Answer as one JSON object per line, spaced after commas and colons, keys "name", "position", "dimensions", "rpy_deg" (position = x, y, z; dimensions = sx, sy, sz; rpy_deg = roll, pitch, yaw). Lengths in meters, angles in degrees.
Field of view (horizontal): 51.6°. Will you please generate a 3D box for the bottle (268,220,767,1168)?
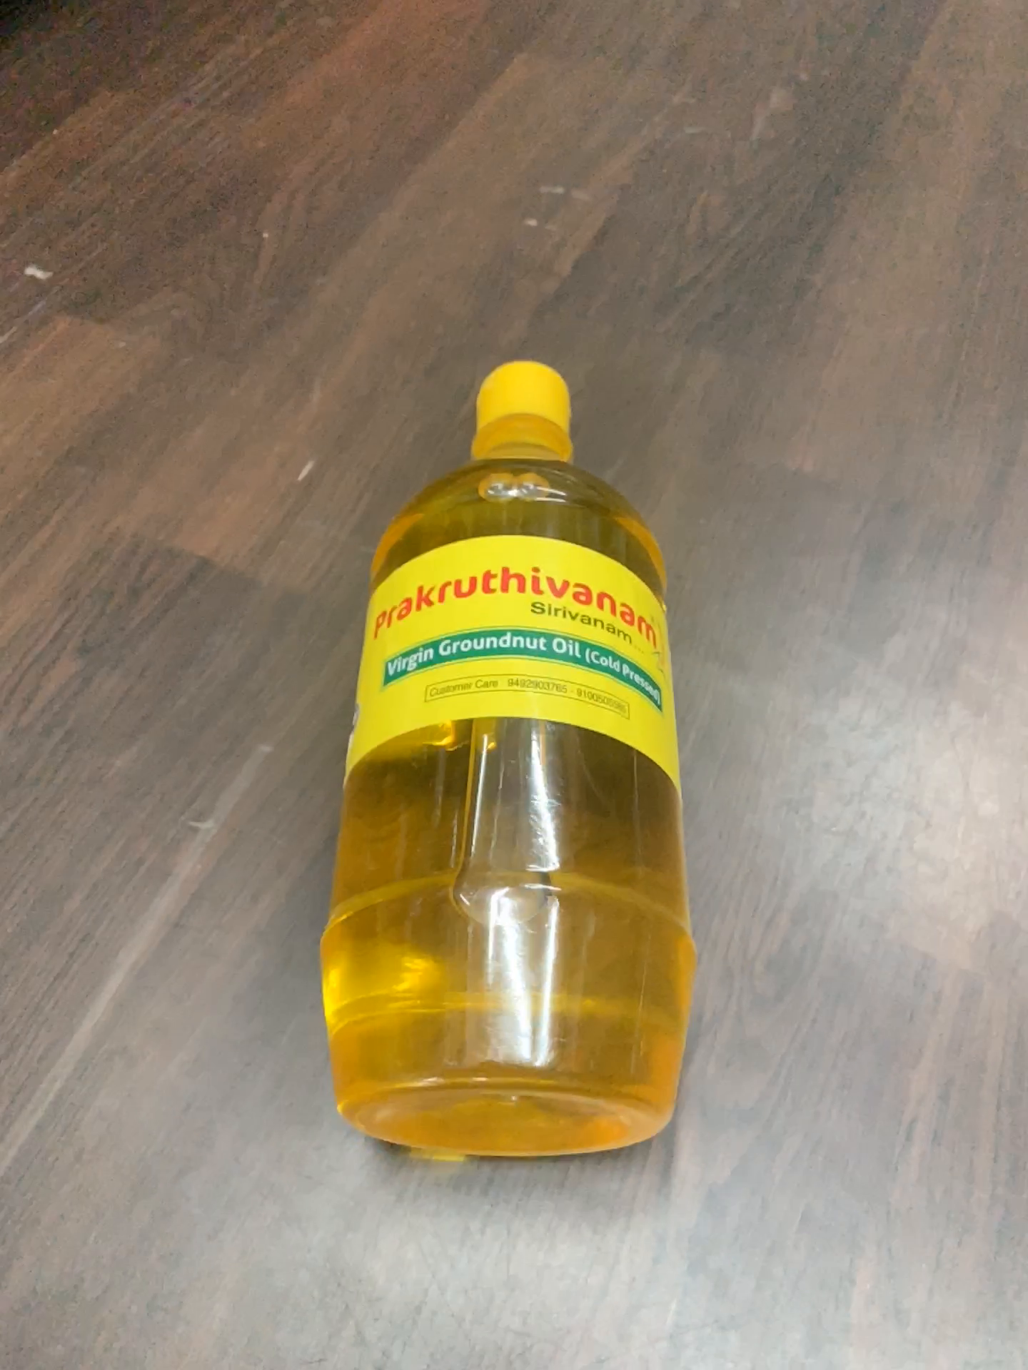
{"name": "bottle", "position": [0.002, -0.015, 0.298], "dimensions": [0.090, 0.080, 0.260], "rpy_deg": [4, 56, -2]}
